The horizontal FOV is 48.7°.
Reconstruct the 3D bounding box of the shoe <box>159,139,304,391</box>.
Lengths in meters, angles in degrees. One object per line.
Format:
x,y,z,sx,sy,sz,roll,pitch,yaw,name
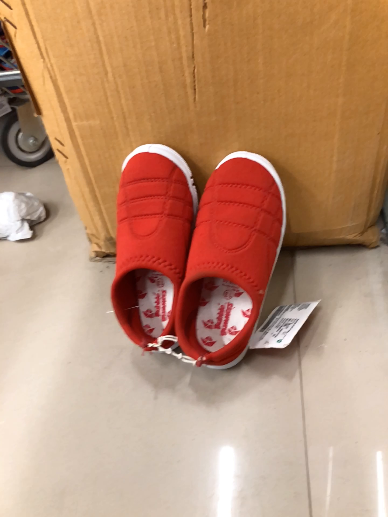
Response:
0.037,0.002,0.411,0.084,0.208,0.081,12,9,24,shoe

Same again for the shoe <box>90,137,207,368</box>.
-0.039,-0.008,0.425,0.084,0.204,0.082,1,9,14,shoe
